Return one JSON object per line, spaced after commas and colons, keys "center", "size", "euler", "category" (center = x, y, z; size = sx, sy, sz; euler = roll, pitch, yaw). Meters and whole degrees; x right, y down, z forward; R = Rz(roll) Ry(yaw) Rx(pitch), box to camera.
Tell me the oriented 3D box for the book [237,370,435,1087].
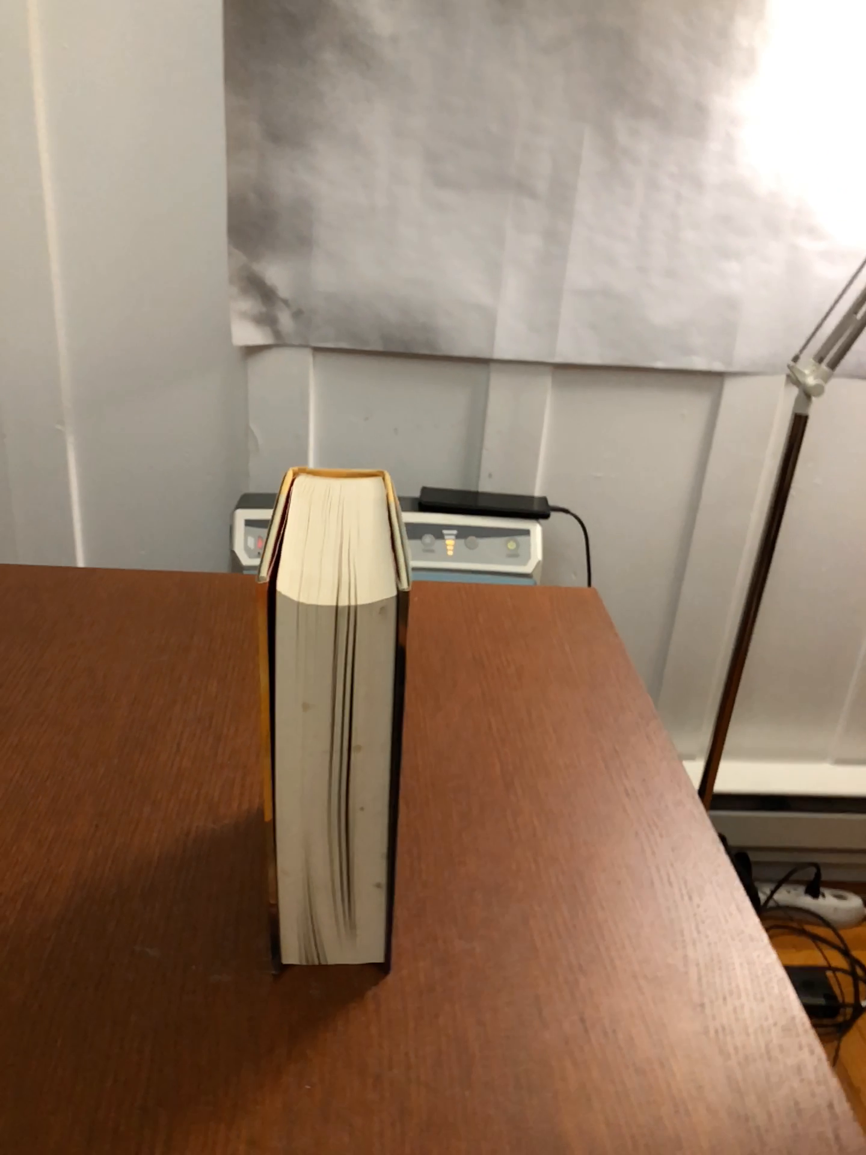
{"center": [-0.049, 0.067, 0.497], "size": [0.070, 0.298, 0.211], "euler": [2, 25, -5], "category": "book"}
